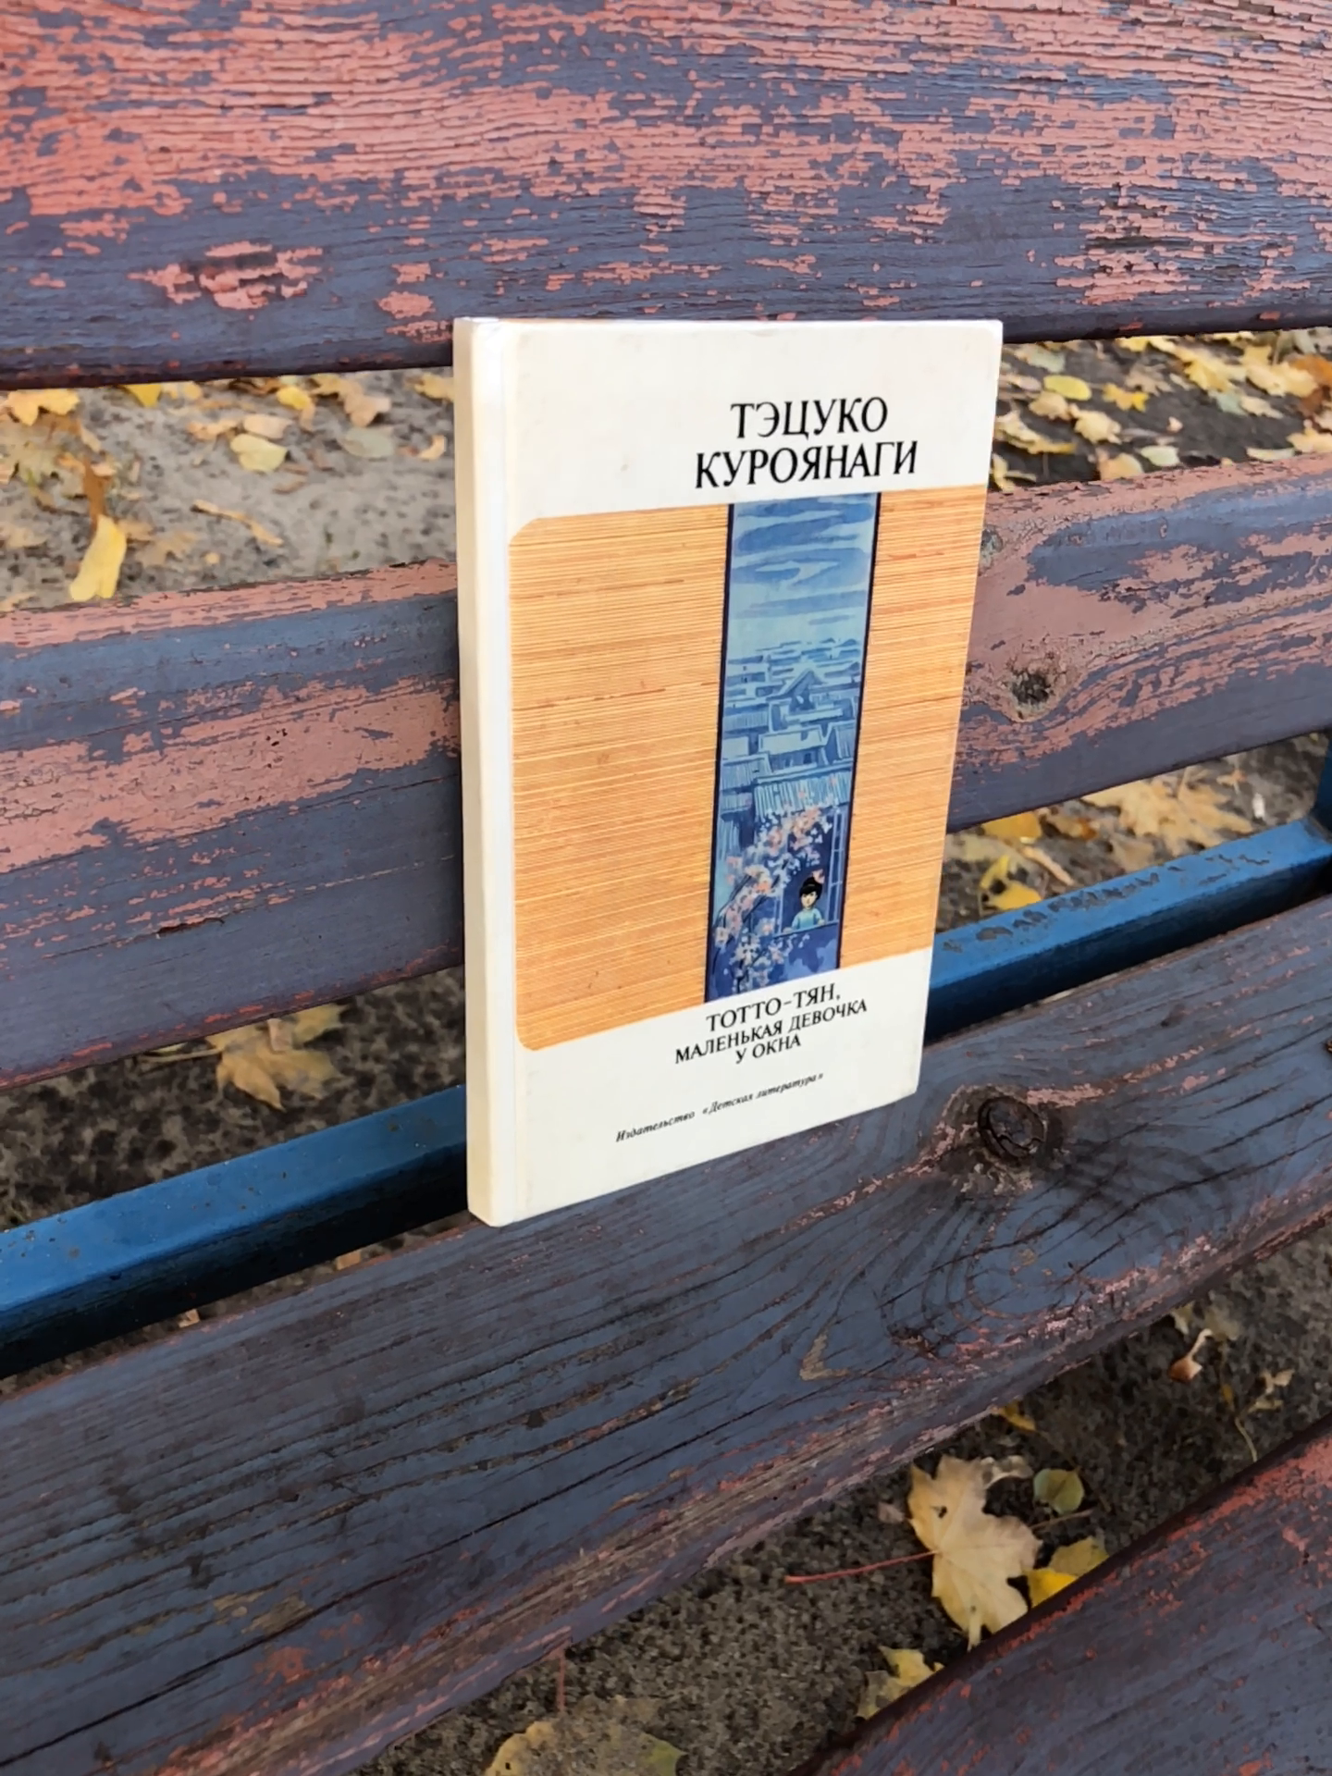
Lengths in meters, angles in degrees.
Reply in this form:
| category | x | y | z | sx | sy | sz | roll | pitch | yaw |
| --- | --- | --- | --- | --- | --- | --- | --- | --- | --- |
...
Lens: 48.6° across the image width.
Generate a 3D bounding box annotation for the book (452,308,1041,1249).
| category | x | y | z | sx | sy | sz | roll | pitch | yaw |
| --- | --- | --- | --- | --- | --- | --- | --- | --- | --- |
| book | 0.017 | -0.024 | 0.335 | 0.134 | 0.198 | 0.016 | -13 | 28 | -31 |
